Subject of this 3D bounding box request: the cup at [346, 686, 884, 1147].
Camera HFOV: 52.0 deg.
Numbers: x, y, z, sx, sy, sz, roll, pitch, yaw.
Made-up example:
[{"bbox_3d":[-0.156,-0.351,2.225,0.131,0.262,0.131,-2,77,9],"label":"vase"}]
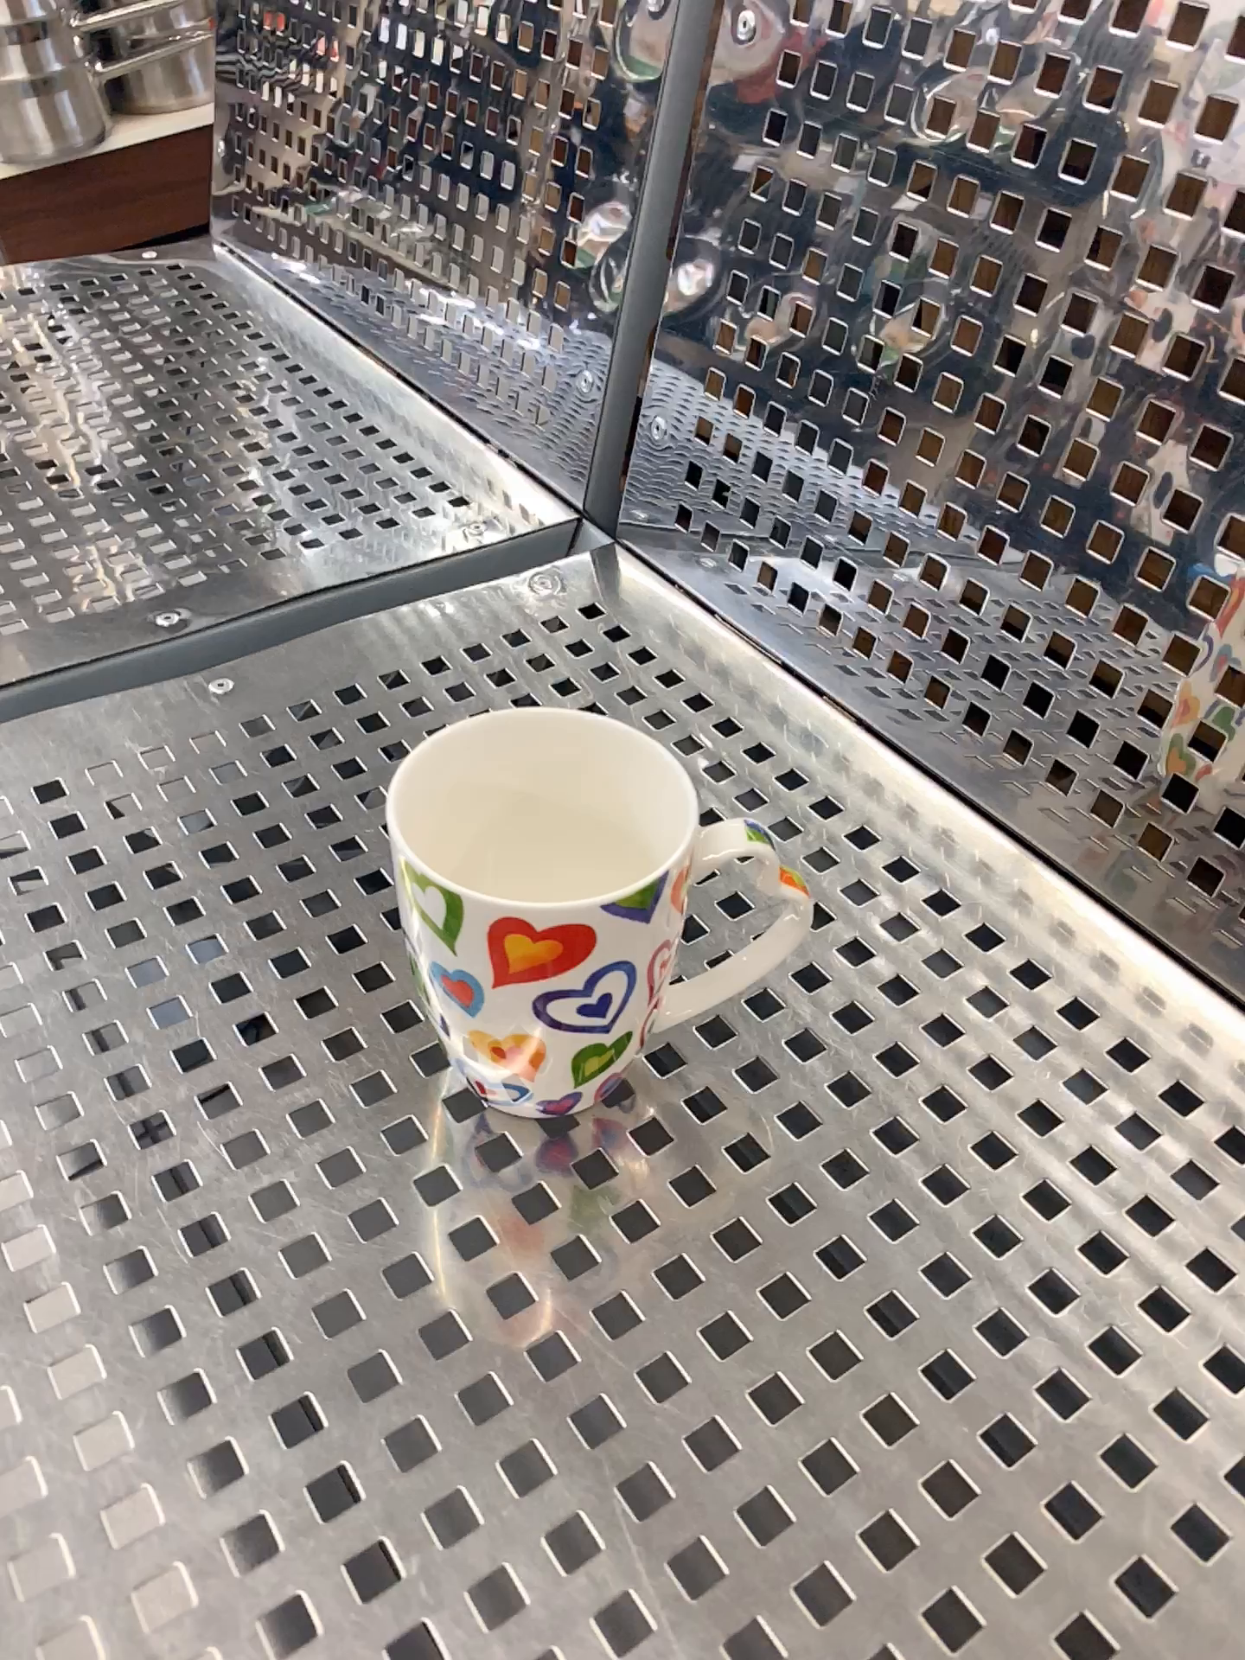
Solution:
[{"bbox_3d":[-0.006,0.024,0.343,0.120,0.100,0.070,-2,44,-5],"label":"cup"}]
